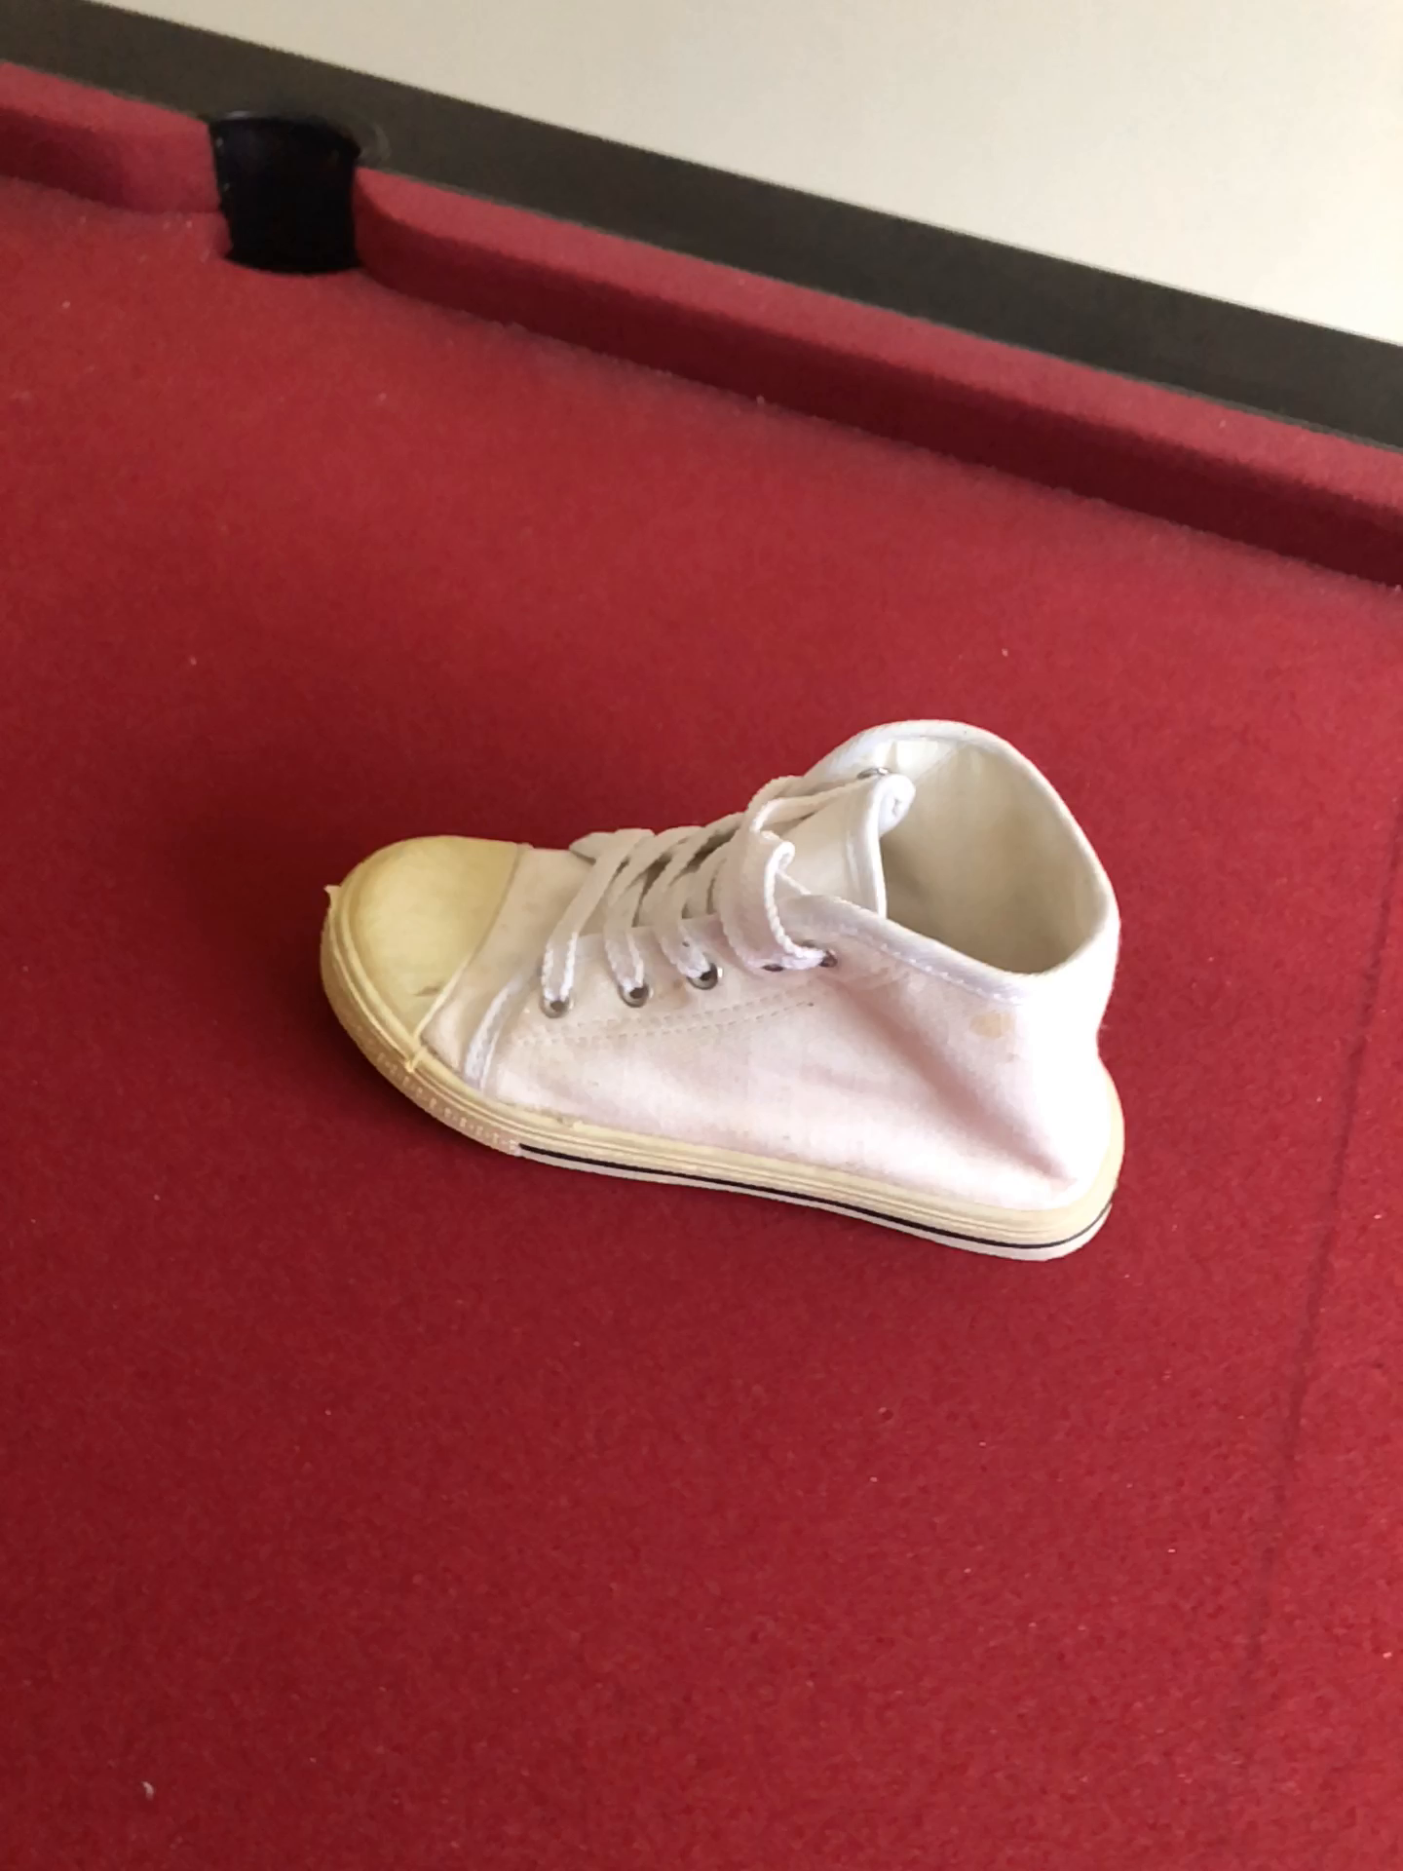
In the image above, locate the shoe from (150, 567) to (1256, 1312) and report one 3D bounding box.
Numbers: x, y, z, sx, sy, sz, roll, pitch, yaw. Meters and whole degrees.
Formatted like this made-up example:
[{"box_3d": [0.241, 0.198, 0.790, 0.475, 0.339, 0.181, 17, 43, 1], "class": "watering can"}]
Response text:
[{"box_3d": [0.004, -0.002, 0.368, 0.220, 0.089, 0.101, 12, 46, 4], "class": "shoe"}]
